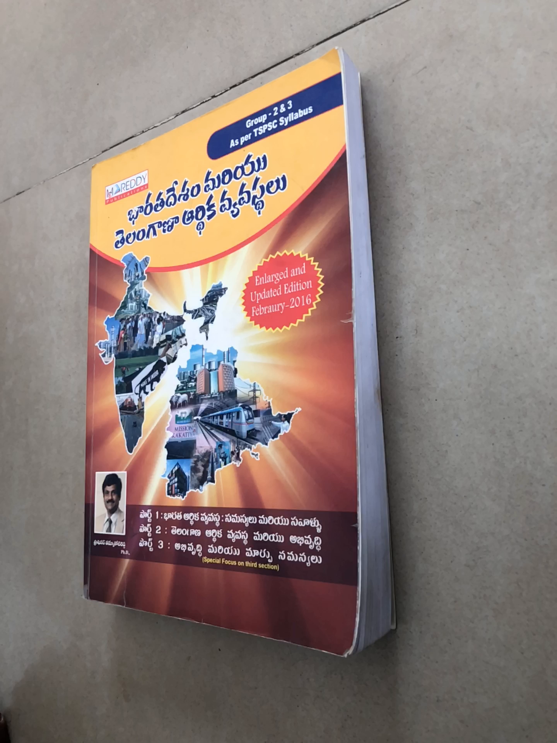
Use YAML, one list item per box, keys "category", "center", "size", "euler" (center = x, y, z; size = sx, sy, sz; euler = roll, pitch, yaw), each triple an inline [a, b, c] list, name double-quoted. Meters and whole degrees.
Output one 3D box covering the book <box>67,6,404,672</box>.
- category: "book"
  center: [-0.037, -0.013, 0.323]
  size: [0.191, 0.030, 0.280]
  euler: [-8, 79, 36]
